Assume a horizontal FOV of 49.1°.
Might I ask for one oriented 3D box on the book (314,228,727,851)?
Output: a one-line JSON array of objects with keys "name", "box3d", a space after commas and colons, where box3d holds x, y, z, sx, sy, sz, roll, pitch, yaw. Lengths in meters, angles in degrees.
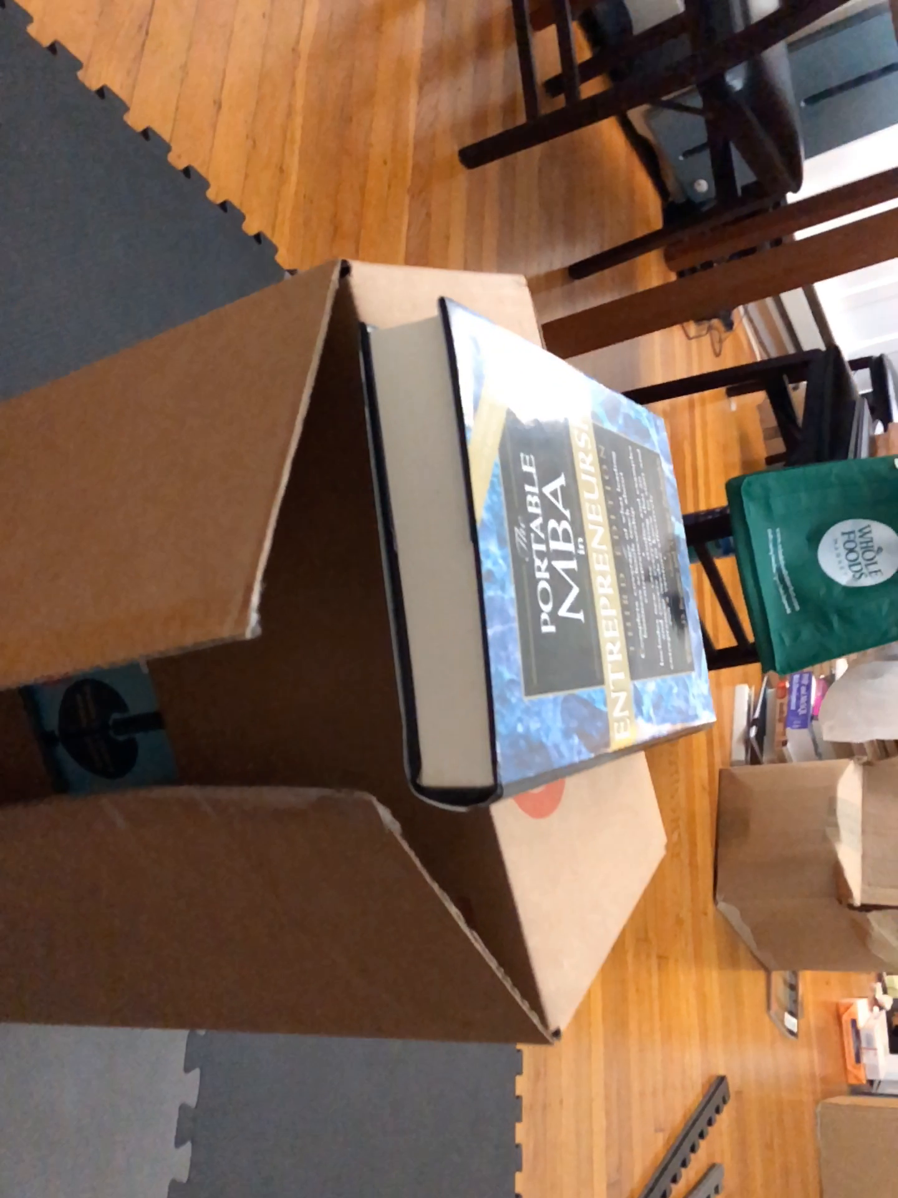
[{"name": "book", "box3d": [0.054, -0.018, 0.463, 0.271, 0.060, 0.210, 1, 80, -62]}]
